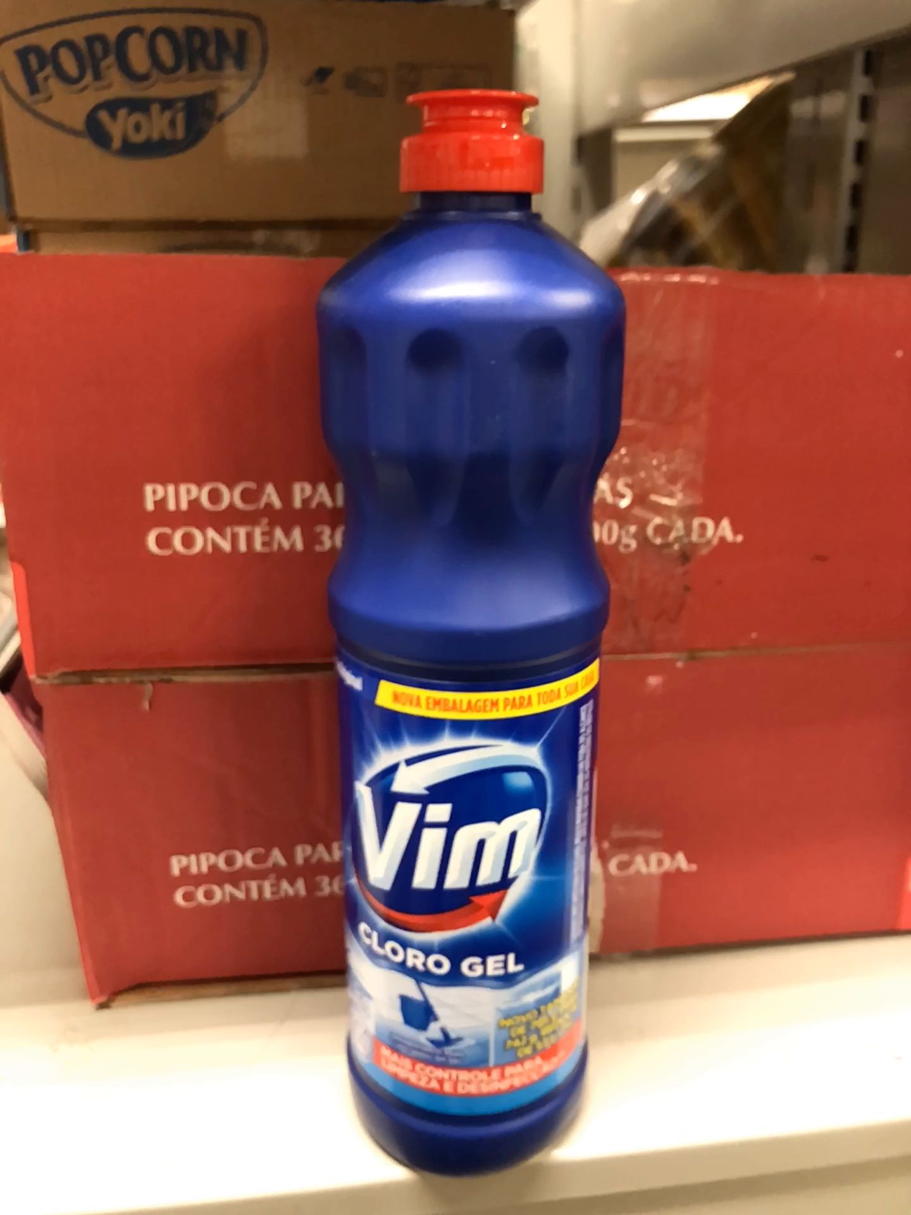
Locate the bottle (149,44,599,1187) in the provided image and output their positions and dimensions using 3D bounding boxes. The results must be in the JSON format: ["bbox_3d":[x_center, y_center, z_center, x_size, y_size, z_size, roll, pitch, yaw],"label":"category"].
[{"bbox_3d":[-0.006,0.012,0.226,0.070,0.229,0.060,1,20,9],"label":"bottle"}]
